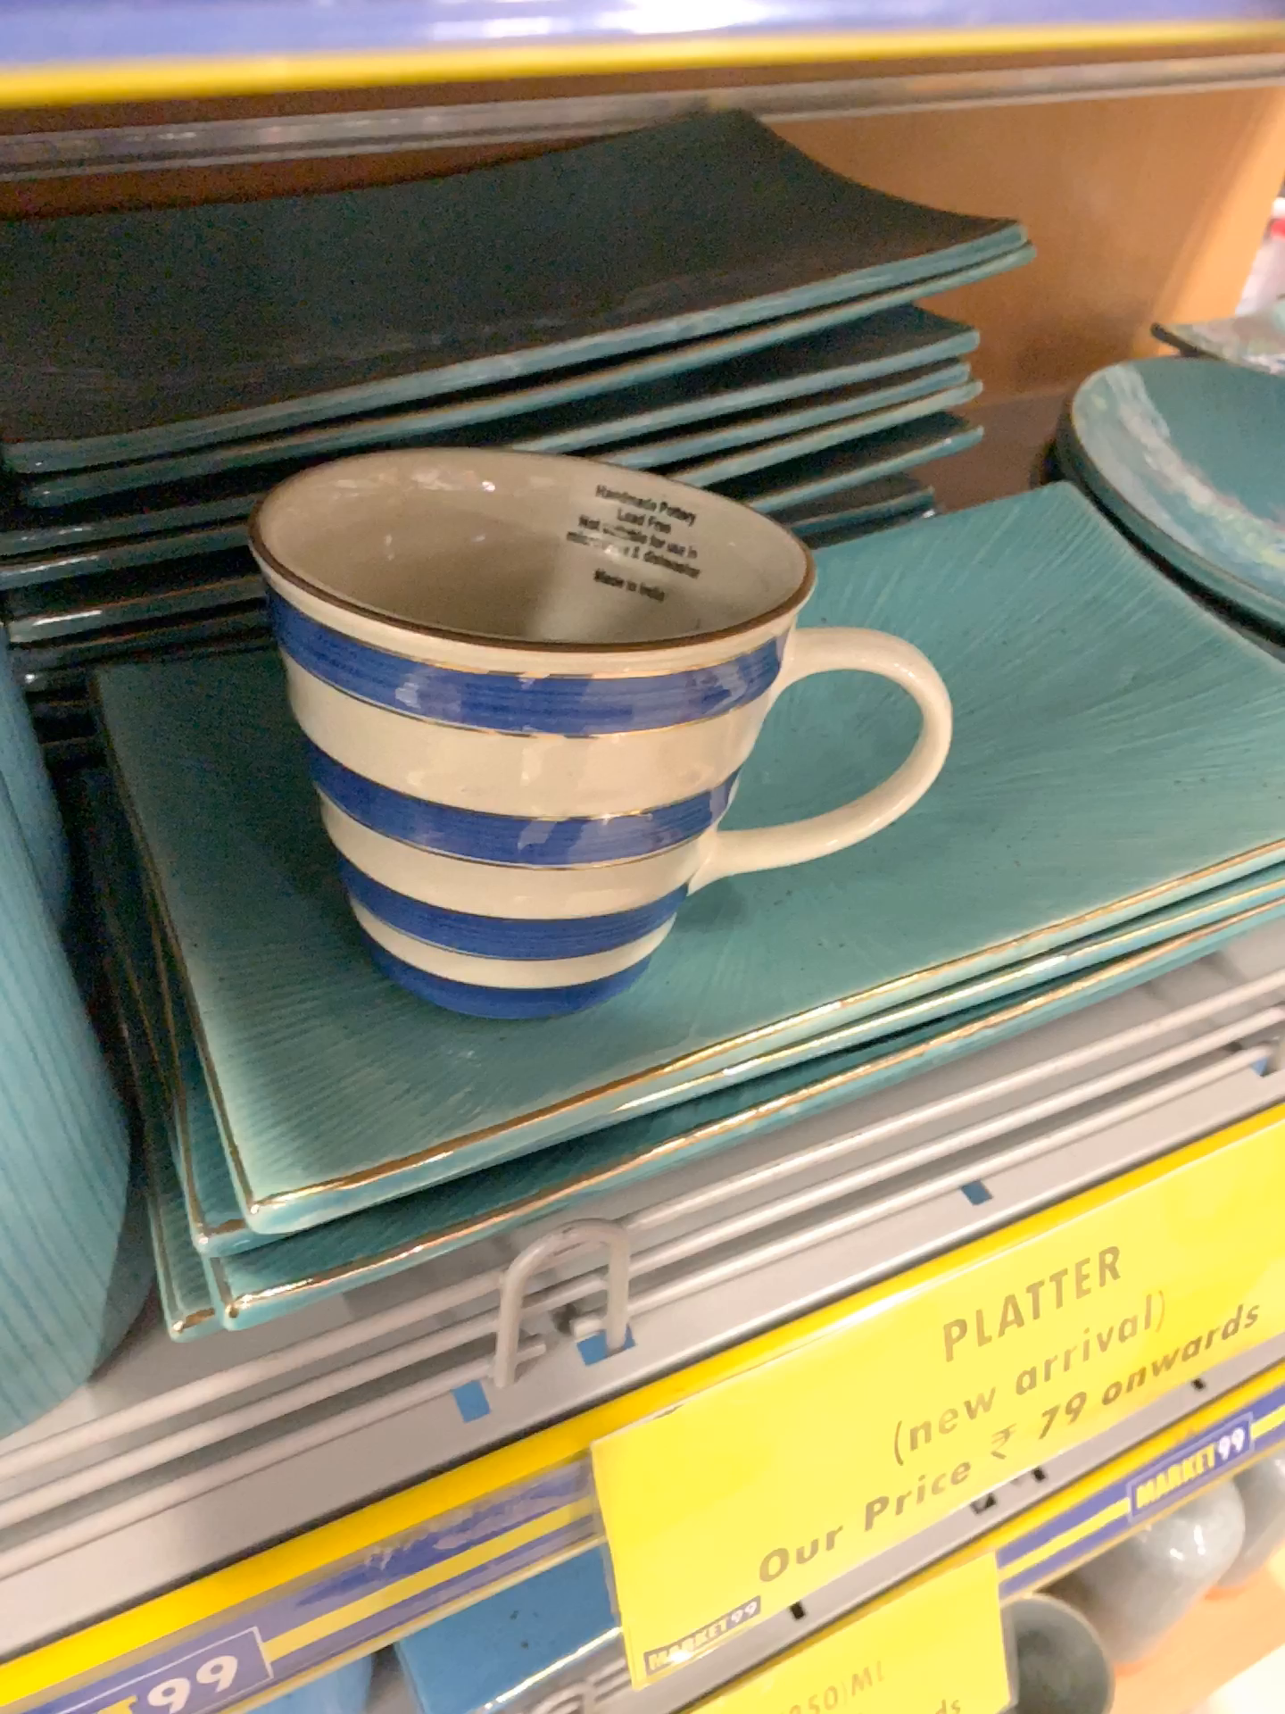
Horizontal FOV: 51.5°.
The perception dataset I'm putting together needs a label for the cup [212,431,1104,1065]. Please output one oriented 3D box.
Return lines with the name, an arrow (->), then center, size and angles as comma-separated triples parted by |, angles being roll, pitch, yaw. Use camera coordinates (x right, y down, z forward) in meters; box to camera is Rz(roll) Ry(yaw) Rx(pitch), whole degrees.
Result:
cup -> -0.006, -0.026, 0.266 | 0.140, 0.080, 0.100 | -1, 34, -13
